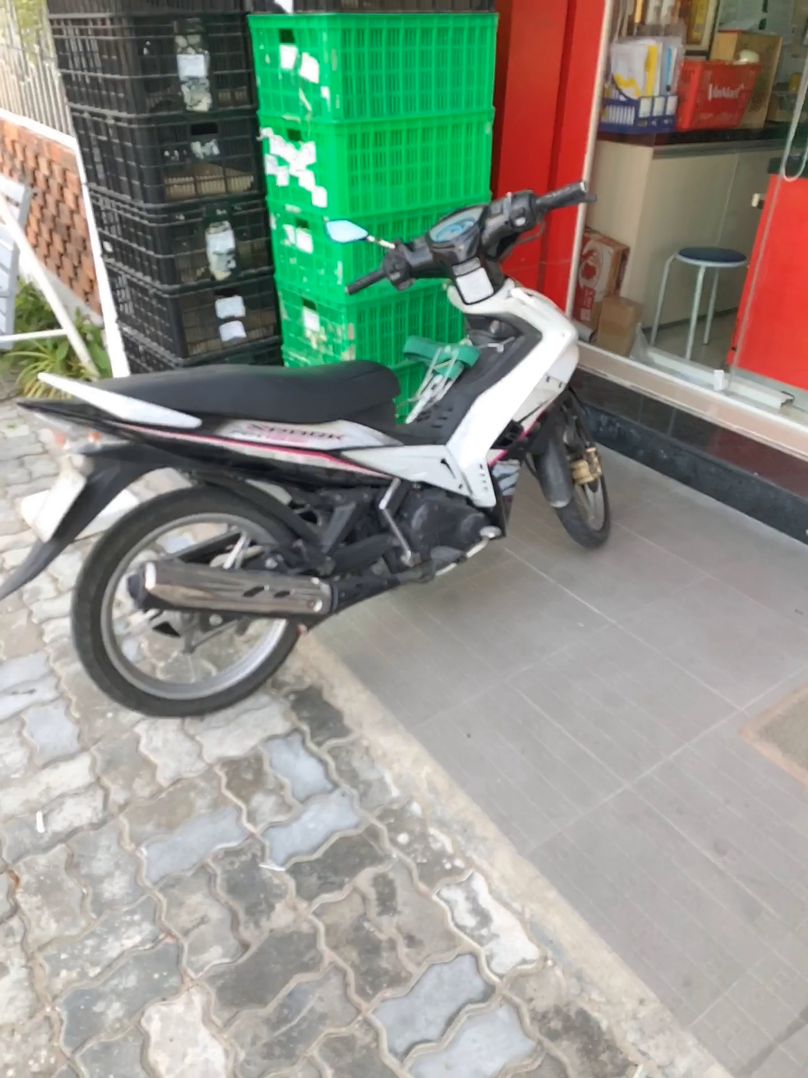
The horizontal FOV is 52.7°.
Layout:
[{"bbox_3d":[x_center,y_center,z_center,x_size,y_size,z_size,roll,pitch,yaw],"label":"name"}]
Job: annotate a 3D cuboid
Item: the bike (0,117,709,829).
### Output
[{"bbox_3d":[-0.078,-0.363,2.200,1.818,1.186,0.669,-26,40,-34],"label":"bike"}]
